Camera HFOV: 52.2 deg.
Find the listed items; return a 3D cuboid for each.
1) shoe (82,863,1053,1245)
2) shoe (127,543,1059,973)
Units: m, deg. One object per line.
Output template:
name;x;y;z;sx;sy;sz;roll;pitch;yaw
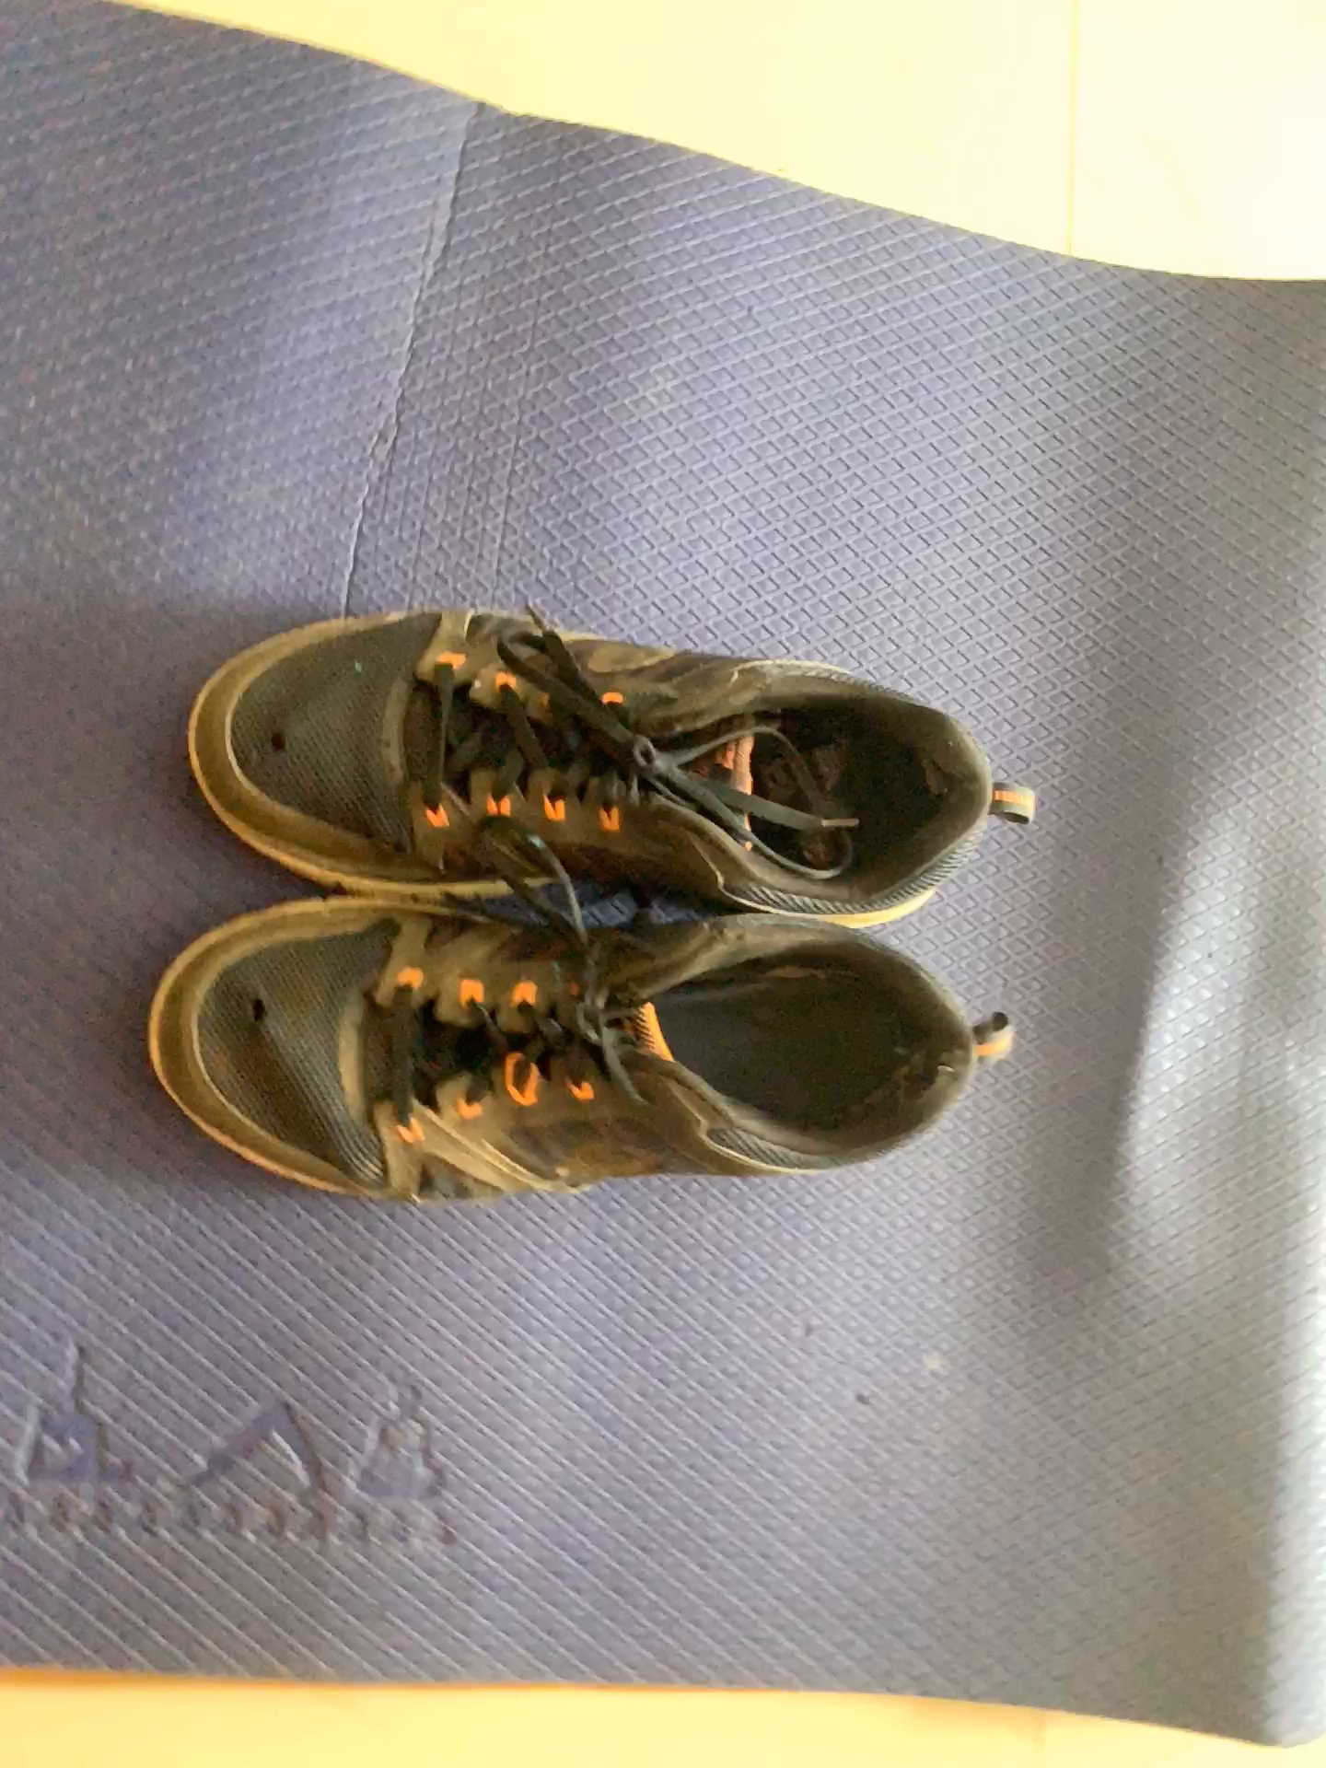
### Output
shoe;-0.027;0.065;0.485;0.310;0.100;0.110;4;81;-12
shoe;-0.023;-0.039;0.525;0.320;0.100;0.100;9;87;-12
